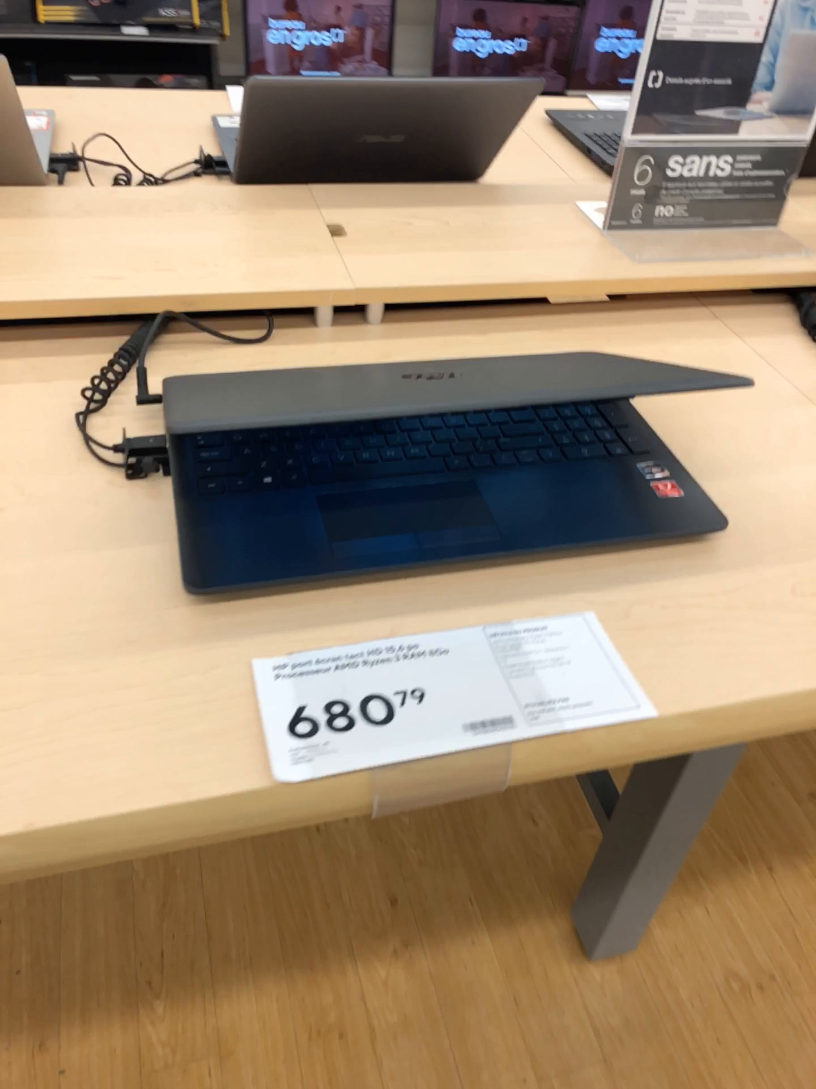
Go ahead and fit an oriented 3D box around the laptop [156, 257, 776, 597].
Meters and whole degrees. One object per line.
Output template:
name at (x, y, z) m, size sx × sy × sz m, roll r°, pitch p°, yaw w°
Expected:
laptop at (0.022, -0.103, 0.626) m, size 0.366 × 0.090 × 0.243 m, roll -7°, pitch 42°, yaw -16°
